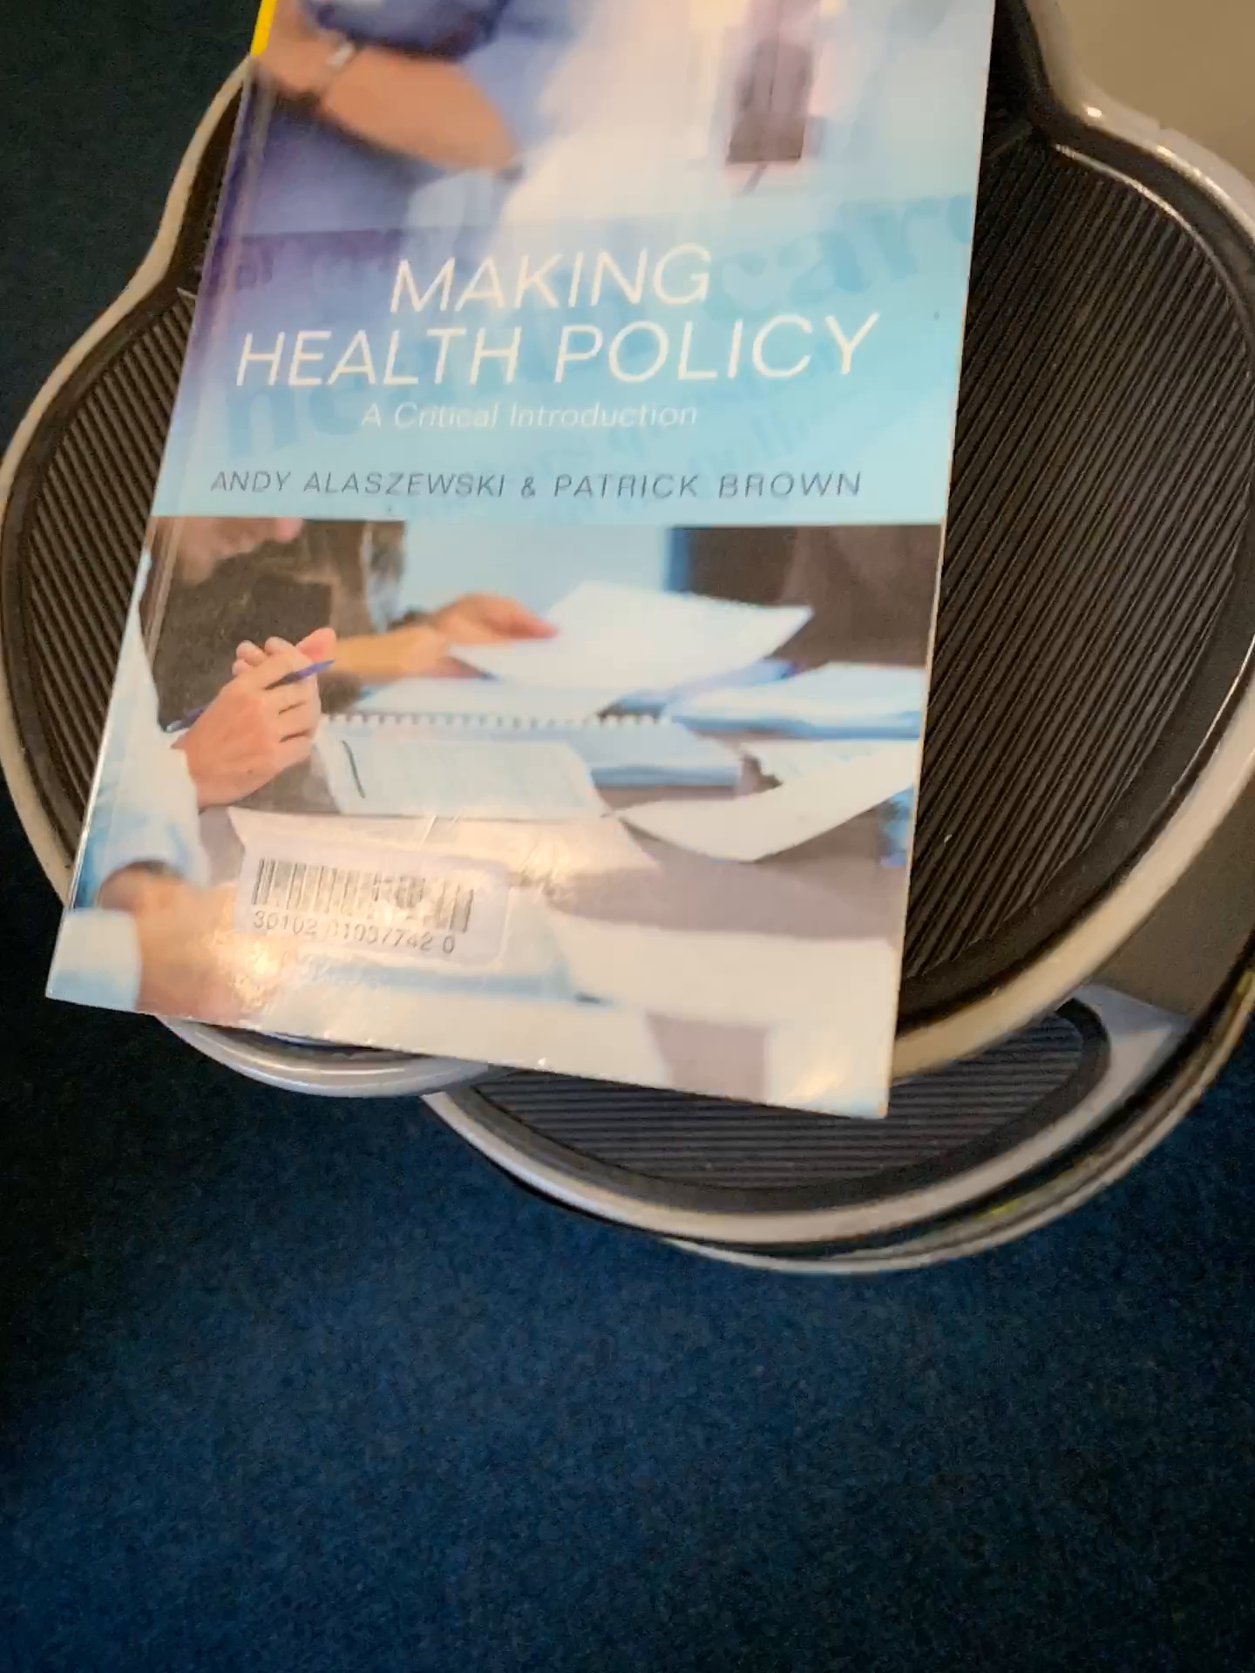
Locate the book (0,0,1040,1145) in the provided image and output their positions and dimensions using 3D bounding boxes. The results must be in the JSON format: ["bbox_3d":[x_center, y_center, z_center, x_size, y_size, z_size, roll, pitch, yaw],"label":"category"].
[{"bbox_3d":[-0.016,-0.076,0.250,0.160,0.030,0.240,5,77,18],"label":"book"}]
